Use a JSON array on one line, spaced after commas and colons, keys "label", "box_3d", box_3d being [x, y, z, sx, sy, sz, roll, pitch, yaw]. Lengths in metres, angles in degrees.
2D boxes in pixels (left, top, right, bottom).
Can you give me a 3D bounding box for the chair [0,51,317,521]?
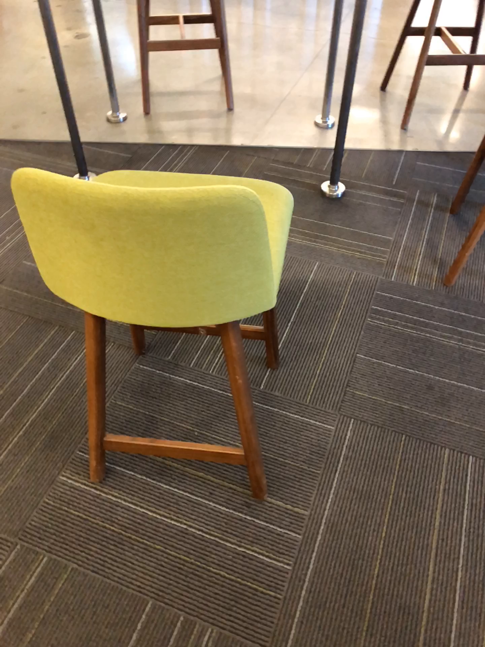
[{"label": "chair", "box_3d": [-0.119, -0.031, 1.174, 0.460, 0.876, 0.512, 5, 46, 5]}]
